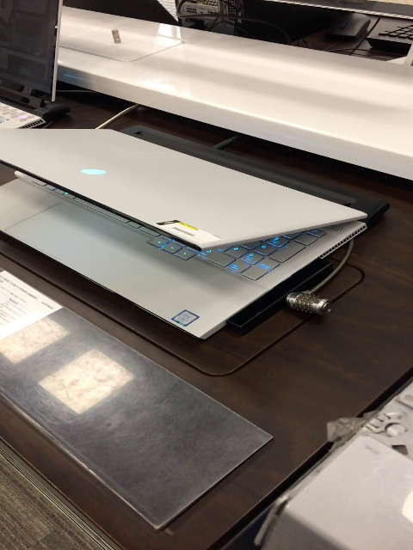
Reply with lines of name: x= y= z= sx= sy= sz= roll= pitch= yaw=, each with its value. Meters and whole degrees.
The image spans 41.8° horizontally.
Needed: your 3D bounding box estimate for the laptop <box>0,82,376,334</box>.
laptop: x=-0.080 y=-0.104 z=0.608 sx=0.398 sy=0.102 sz=0.237 roll=28 pitch=51 yaw=35
